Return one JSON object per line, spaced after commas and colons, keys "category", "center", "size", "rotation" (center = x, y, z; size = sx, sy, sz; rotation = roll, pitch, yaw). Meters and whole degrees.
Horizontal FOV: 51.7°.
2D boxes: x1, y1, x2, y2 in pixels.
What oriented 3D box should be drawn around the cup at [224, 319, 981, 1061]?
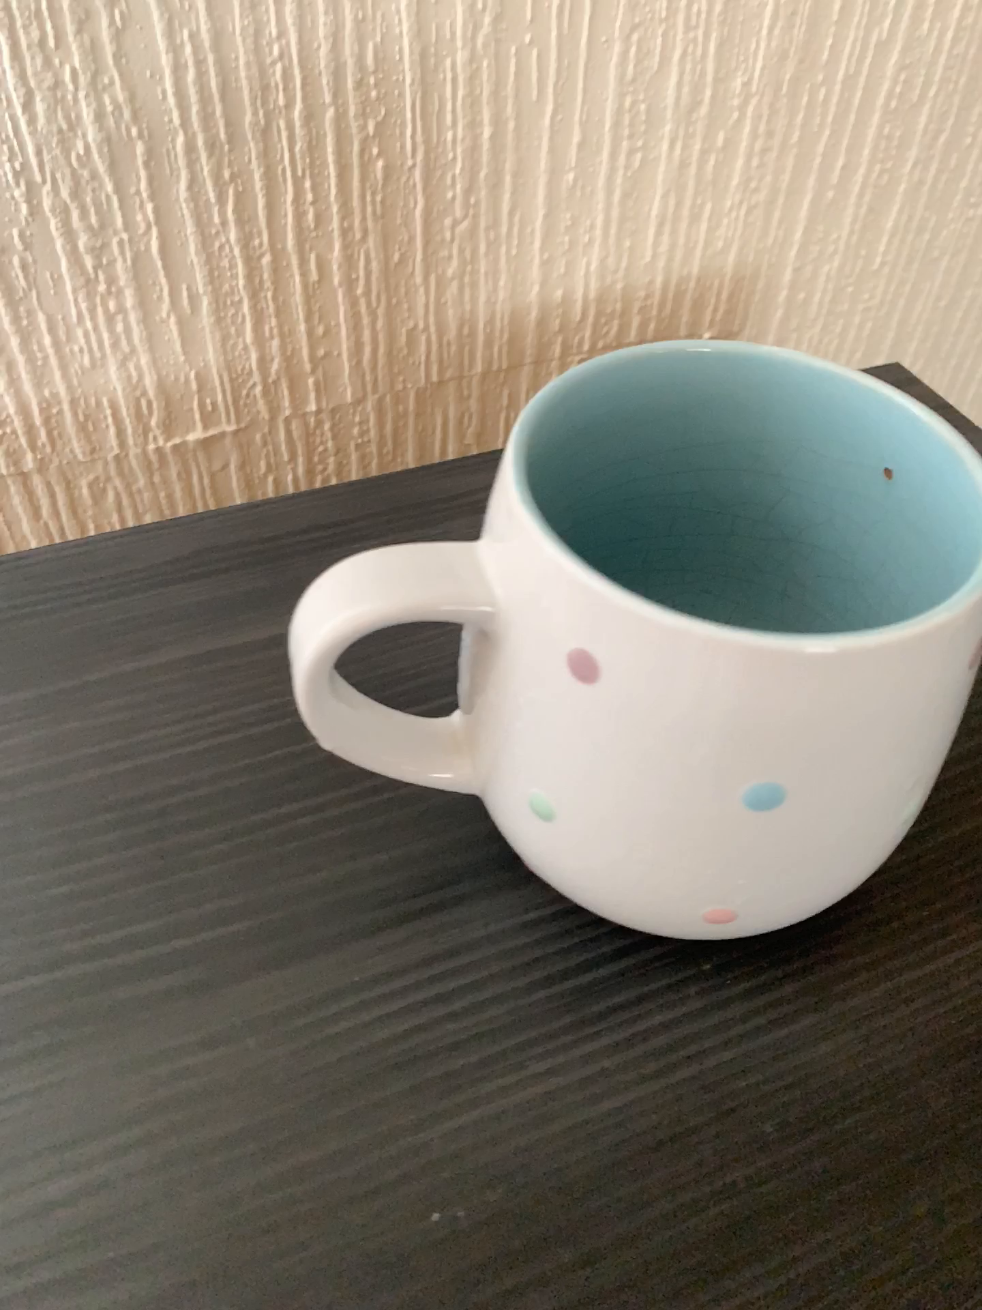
{"category": "cup", "center": [0.023, 0.005, 0.204], "size": [0.130, 0.099, 0.101], "rotation": [-3, 47, -6]}
